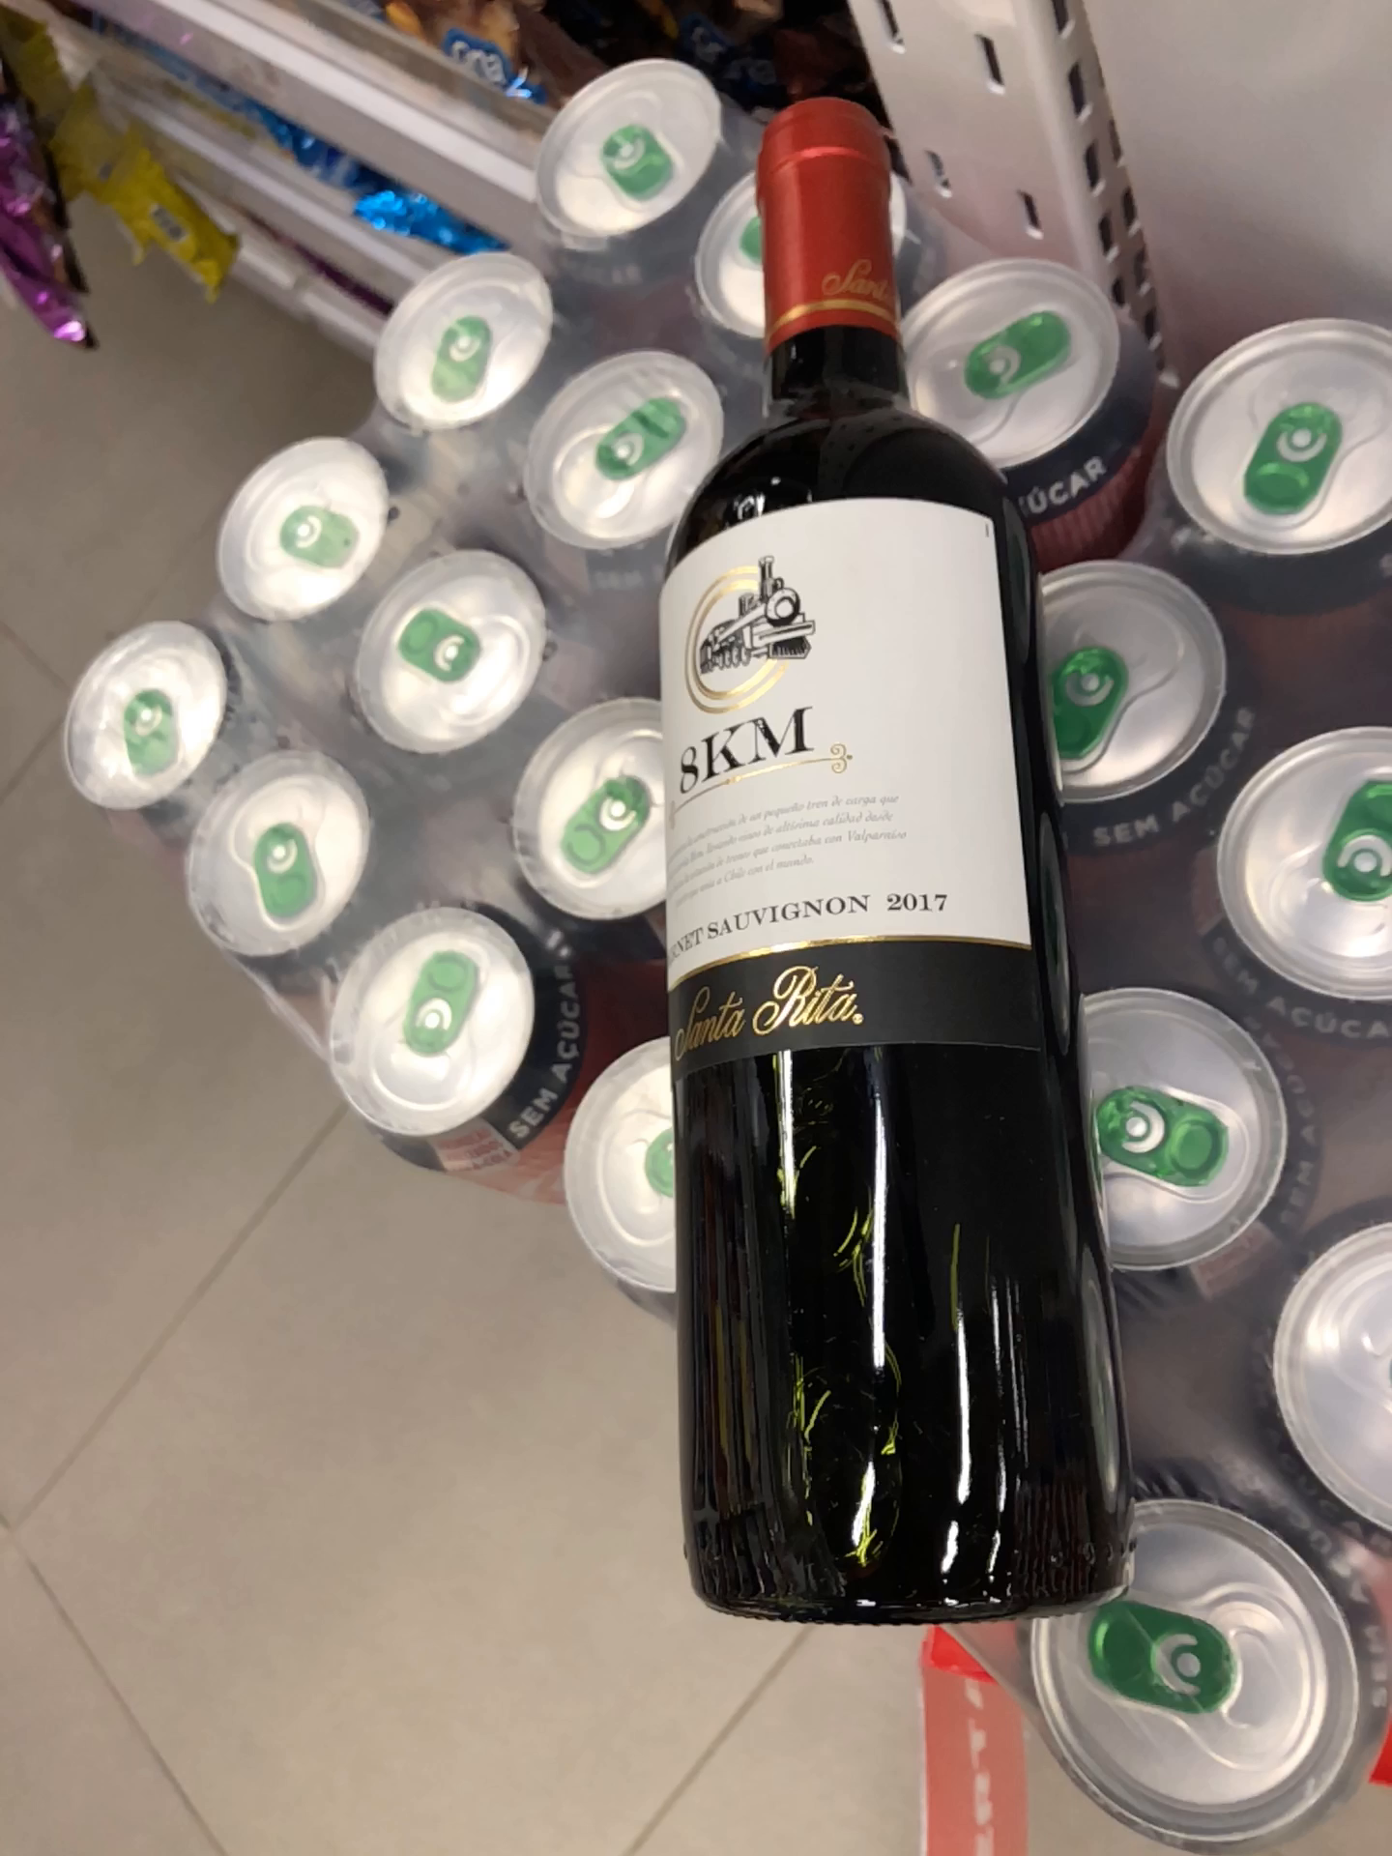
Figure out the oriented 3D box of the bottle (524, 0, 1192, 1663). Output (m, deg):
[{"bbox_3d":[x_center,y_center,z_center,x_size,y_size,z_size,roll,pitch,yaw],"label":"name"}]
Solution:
[{"bbox_3d":[0.023,-0.046,0.285,0.080,0.070,0.321,-10,71,20],"label":"bottle"}]
